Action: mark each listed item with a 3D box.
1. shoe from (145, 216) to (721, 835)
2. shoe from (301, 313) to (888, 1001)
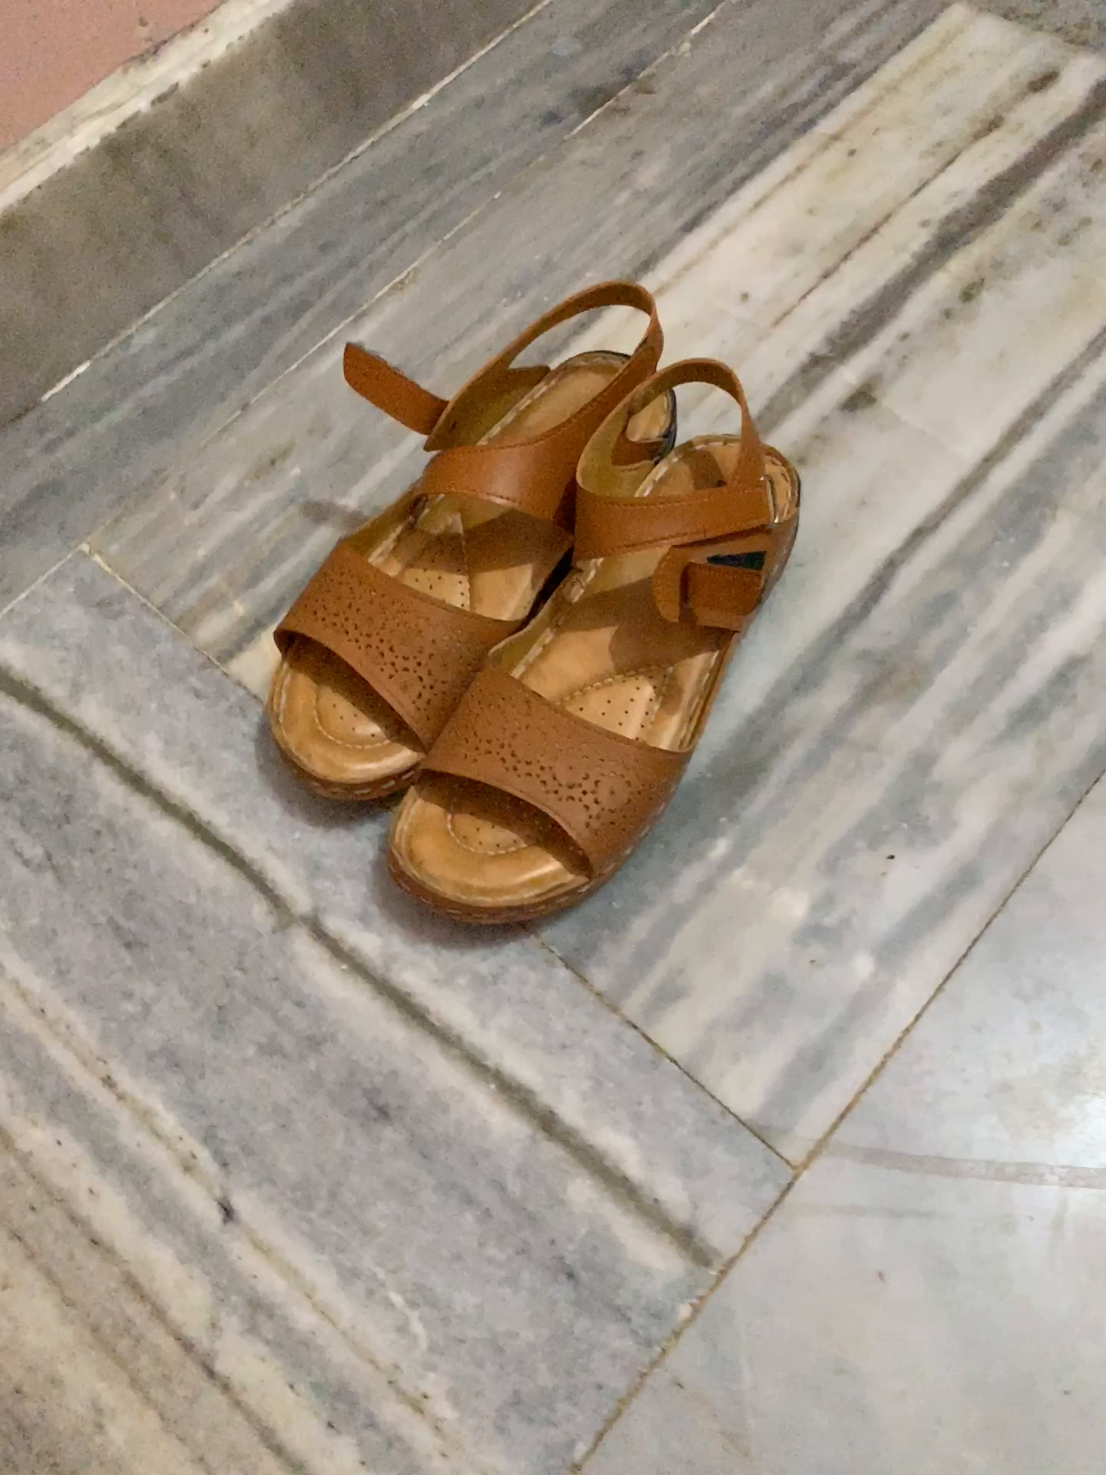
[{"bbox_3d":[-0.038,-0.095,0.496,0.090,0.100,0.250,34,72,21],"label":"shoe"},{"bbox_3d":[0.027,-0.036,0.463,0.090,0.100,0.256,30,71,19],"label":"shoe"}]
